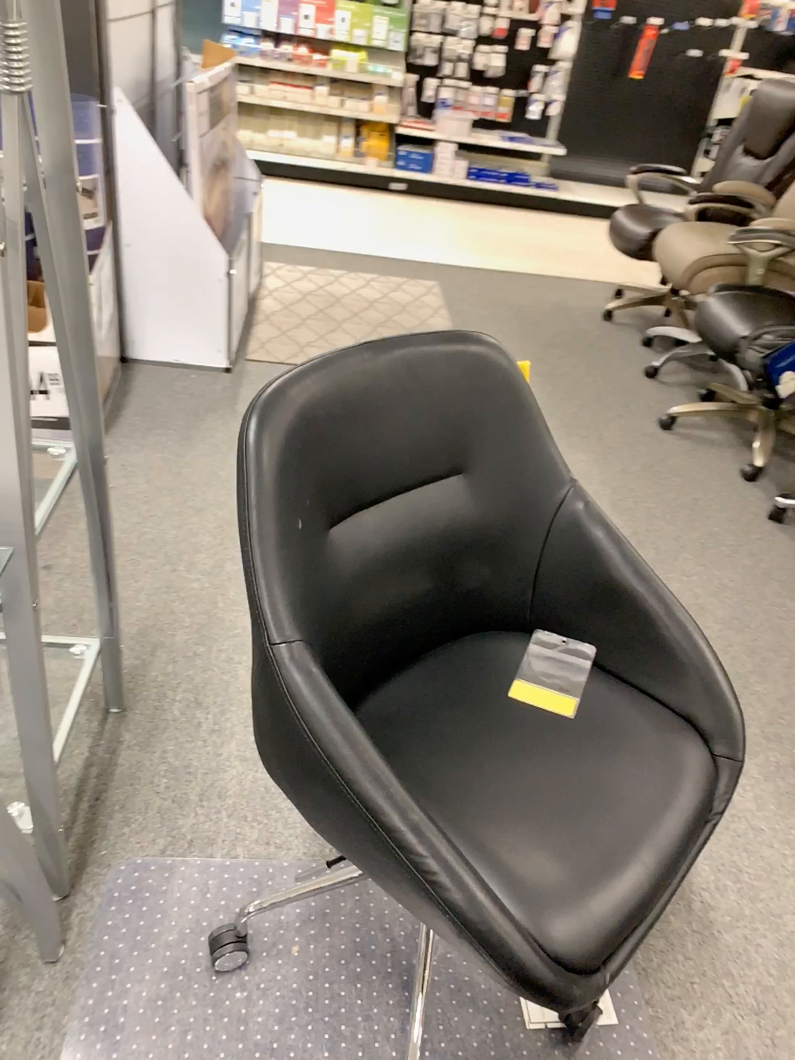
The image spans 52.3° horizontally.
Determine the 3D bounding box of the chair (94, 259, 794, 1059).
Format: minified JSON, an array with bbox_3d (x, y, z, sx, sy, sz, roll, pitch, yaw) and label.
[{"bbox_3d":[0.128,0.238,1.027,0.621,0.885,0.673,31,40,29],"label":"chair"}]
